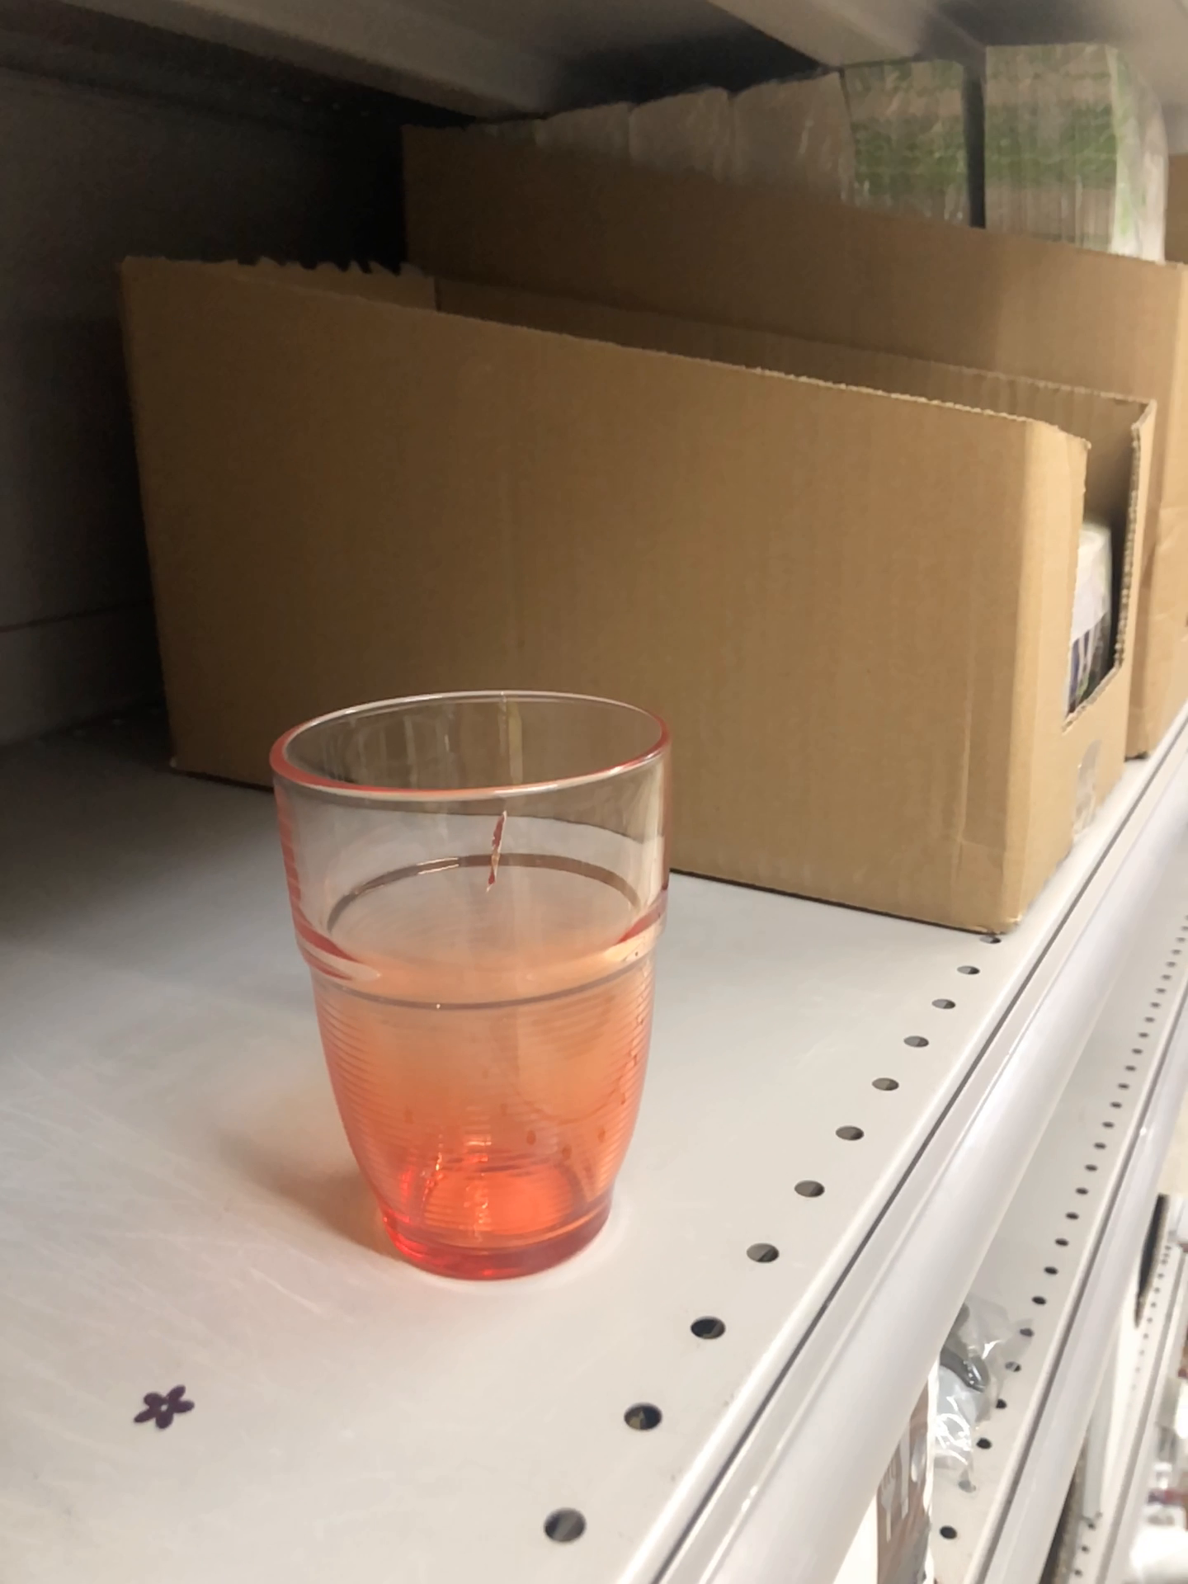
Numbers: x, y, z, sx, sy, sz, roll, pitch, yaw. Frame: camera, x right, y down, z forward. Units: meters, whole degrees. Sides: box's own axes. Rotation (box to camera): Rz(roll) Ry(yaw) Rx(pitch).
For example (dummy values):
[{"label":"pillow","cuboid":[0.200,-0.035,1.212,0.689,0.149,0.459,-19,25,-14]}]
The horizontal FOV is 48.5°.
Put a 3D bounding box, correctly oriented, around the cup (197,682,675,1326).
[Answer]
[{"label":"cup","cuboid":[-0.023,0.035,0.262,0.074,0.100,0.080,-1,15,0]}]
